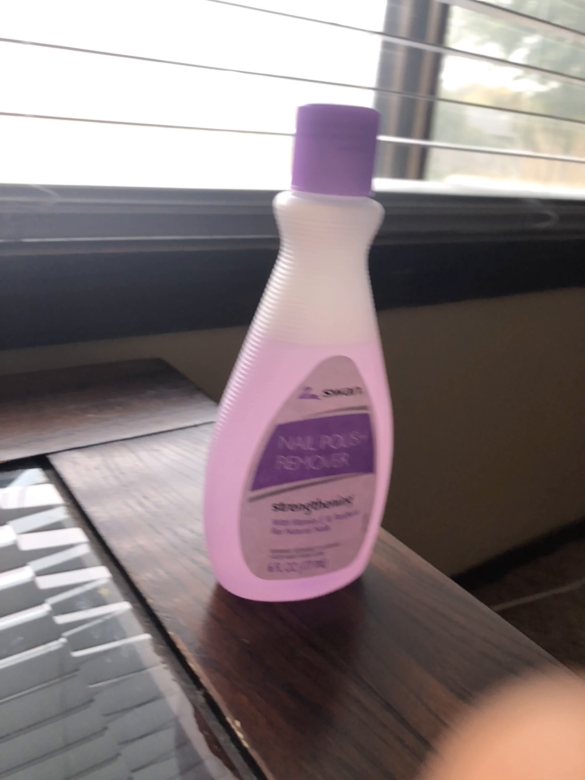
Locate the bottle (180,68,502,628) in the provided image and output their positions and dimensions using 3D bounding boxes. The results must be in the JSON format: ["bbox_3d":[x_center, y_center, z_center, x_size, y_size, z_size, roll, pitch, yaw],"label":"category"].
[{"bbox_3d":[0.008,-0.011,0.226,0.080,0.170,0.050,-4,23,-23],"label":"bottle"}]
